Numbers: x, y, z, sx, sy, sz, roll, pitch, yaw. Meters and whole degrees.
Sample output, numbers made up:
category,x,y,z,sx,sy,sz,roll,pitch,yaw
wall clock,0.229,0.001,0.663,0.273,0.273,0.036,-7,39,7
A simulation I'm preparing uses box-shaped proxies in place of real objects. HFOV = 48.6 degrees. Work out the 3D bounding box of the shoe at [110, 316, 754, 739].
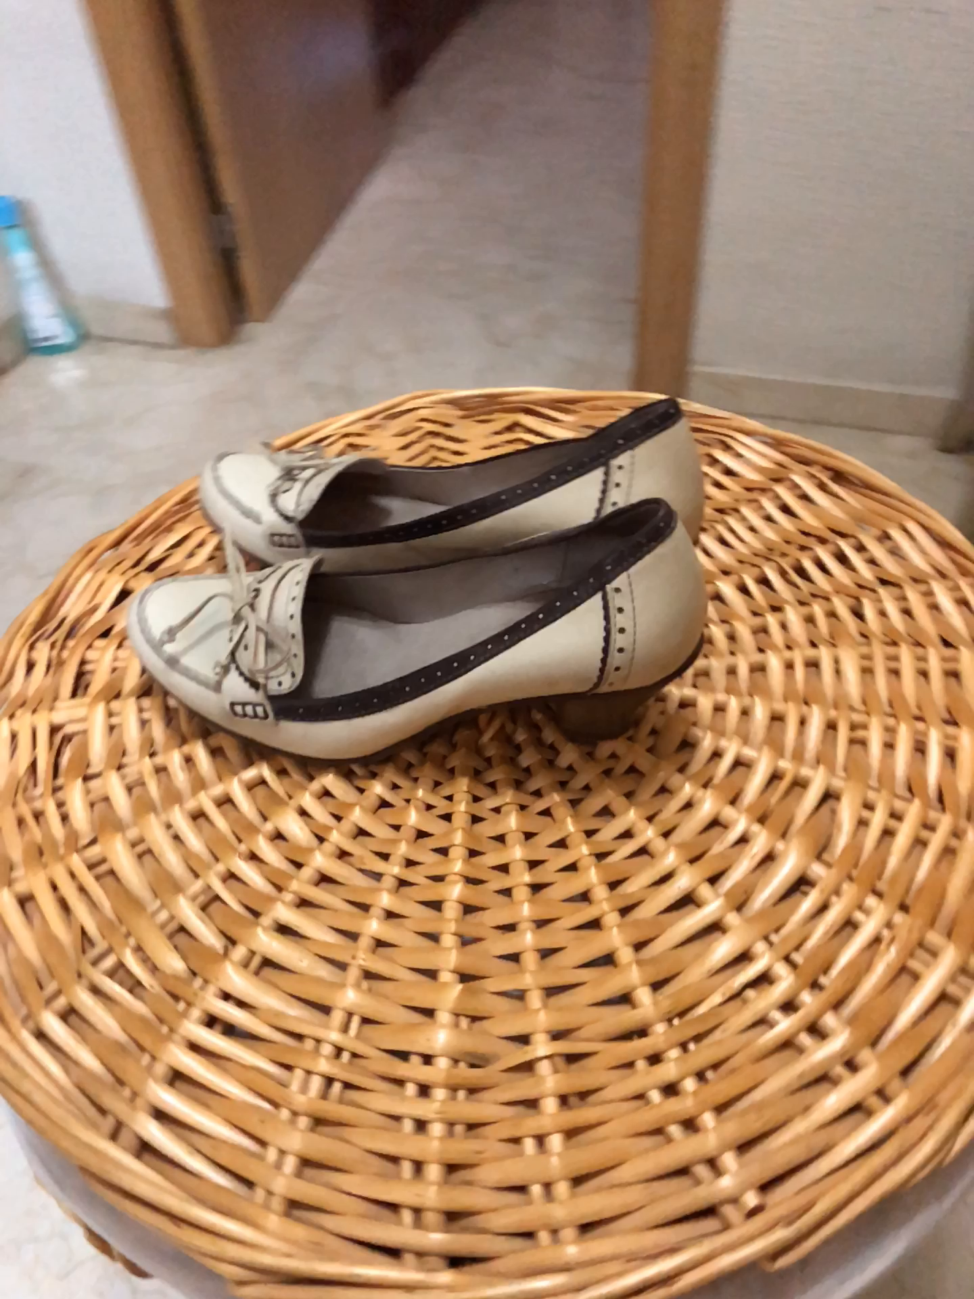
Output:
category,x,y,z,sx,sy,sz,roll,pitch,yaw
shoe,-0.023,-0.064,0.503,0.260,0.109,0.100,14,45,17

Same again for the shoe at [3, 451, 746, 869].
category,x,y,z,sx,sy,sz,roll,pitch,yaw
shoe,-0.037,-0.002,0.433,0.260,0.090,0.100,8,43,12
